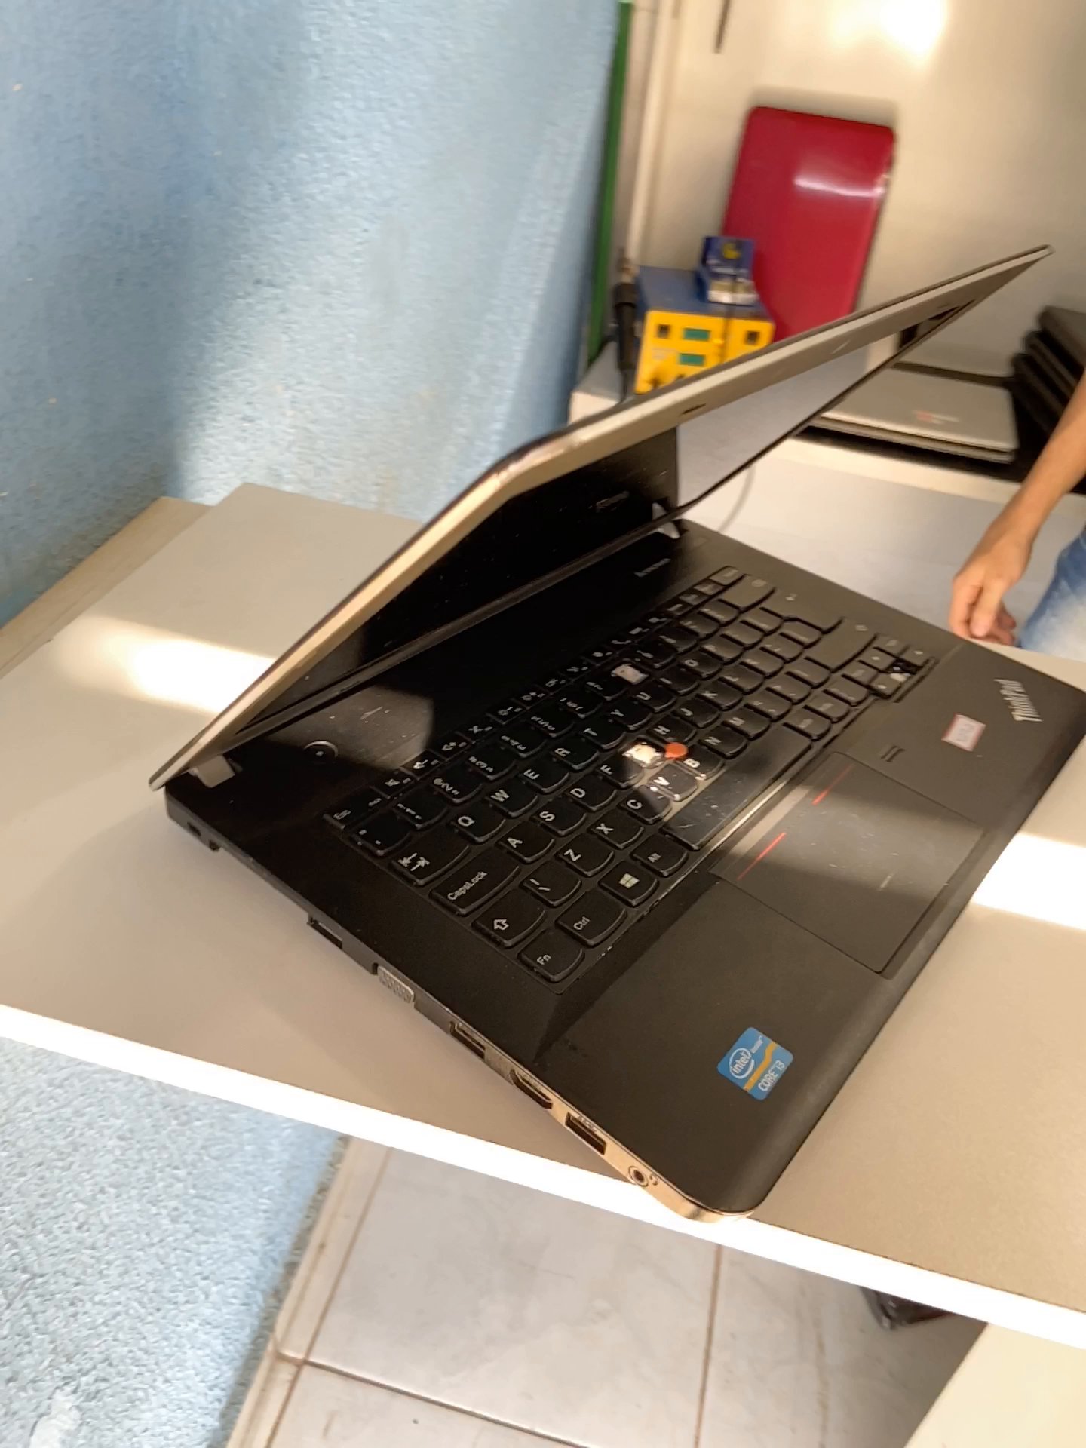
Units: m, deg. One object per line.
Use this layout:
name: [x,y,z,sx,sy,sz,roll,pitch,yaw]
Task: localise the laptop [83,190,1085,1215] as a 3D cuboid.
laptop: [0.062,-0.062,0.400,0.231,0.165,0.332,29,41,27]
